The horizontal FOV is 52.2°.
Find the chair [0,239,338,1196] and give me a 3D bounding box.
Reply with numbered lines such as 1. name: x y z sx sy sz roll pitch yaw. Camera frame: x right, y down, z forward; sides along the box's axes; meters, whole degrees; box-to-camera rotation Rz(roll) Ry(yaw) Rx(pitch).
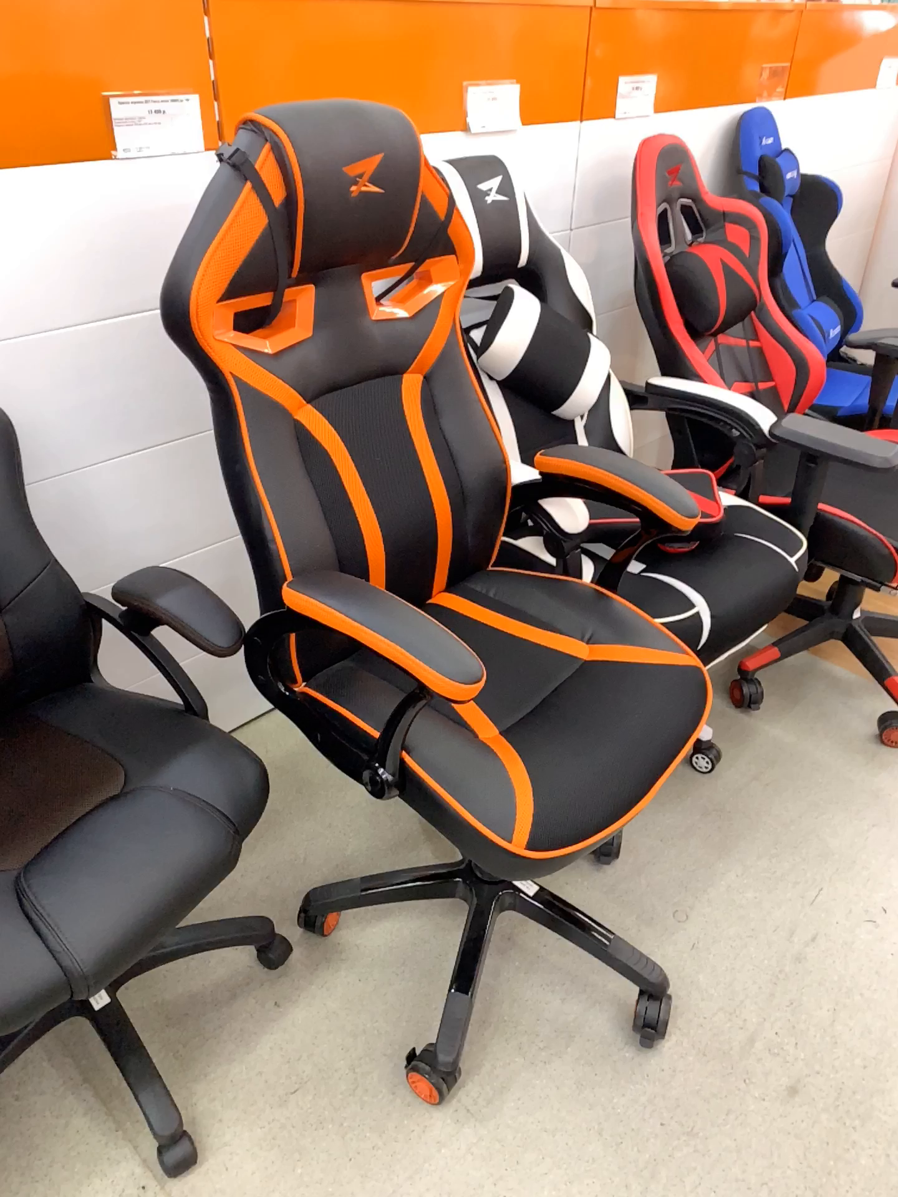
1. chair: -0.745 0.289 1.335 0.721 1.323 0.823 24 39 32

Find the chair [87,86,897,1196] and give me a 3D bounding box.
1. chair: 0.108 0.027 1.358 0.731 1.313 0.723 28 42 36

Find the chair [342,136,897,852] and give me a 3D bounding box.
1. chair: 0.384 -0.304 2.060 0.821 1.193 0.854 24 39 32
